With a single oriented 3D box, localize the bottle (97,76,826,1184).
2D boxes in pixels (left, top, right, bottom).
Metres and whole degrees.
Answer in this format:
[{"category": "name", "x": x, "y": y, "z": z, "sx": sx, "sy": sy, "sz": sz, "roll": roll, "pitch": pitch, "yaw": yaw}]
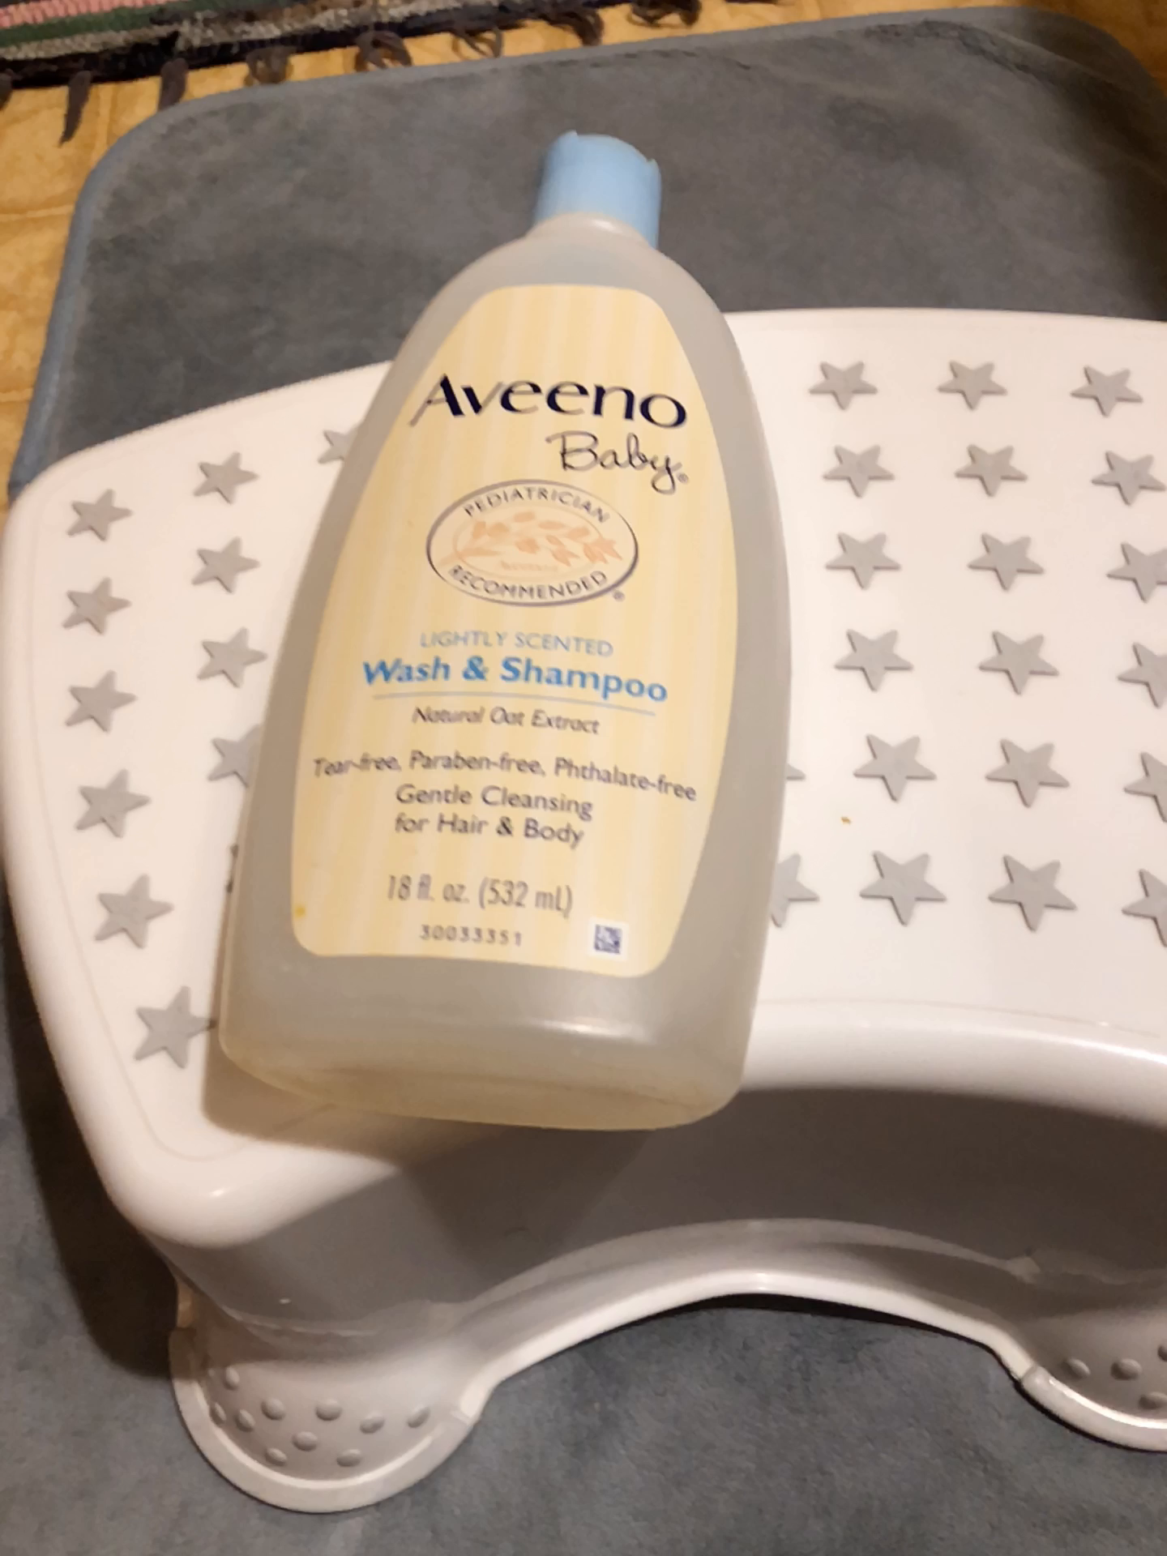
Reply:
[{"category": "bottle", "x": -0.006, "y": -0.050, "z": 0.258, "sx": 0.100, "sy": 0.040, "sz": 0.240, "roll": 3, "pitch": 59, "yaw": 6}]
